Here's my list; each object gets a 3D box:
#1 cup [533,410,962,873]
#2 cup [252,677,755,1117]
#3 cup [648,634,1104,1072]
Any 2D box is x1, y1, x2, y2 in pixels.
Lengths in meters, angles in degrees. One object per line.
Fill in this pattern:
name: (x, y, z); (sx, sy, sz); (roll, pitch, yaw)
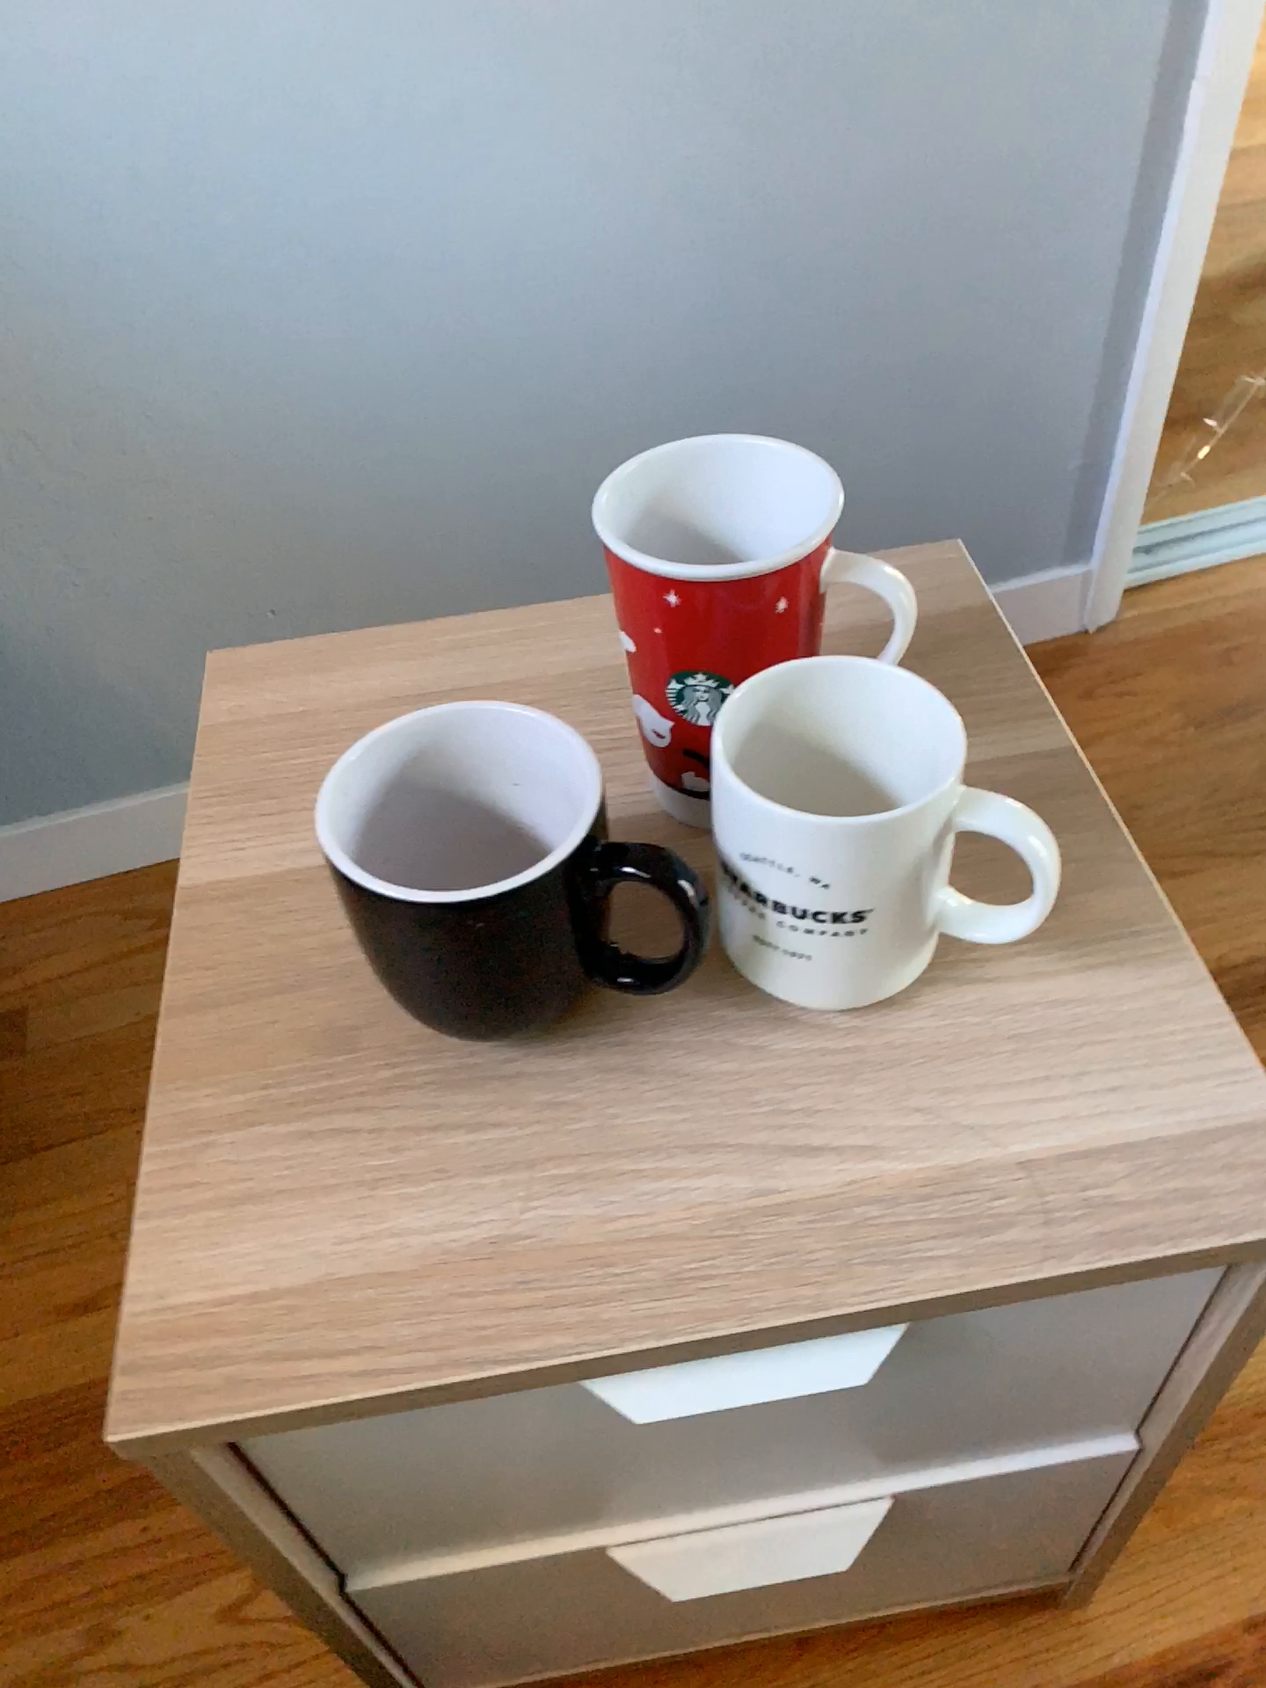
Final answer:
cup: (0.050, -0.087, 0.551); (0.140, 0.139, 0.100); (14, 49, 18)
cup: (-0.036, 0.016, 0.456); (0.140, 0.090, 0.100); (9, 47, 13)
cup: (0.090, 0.001, 0.486); (0.140, 0.100, 0.100); (10, 48, 15)
